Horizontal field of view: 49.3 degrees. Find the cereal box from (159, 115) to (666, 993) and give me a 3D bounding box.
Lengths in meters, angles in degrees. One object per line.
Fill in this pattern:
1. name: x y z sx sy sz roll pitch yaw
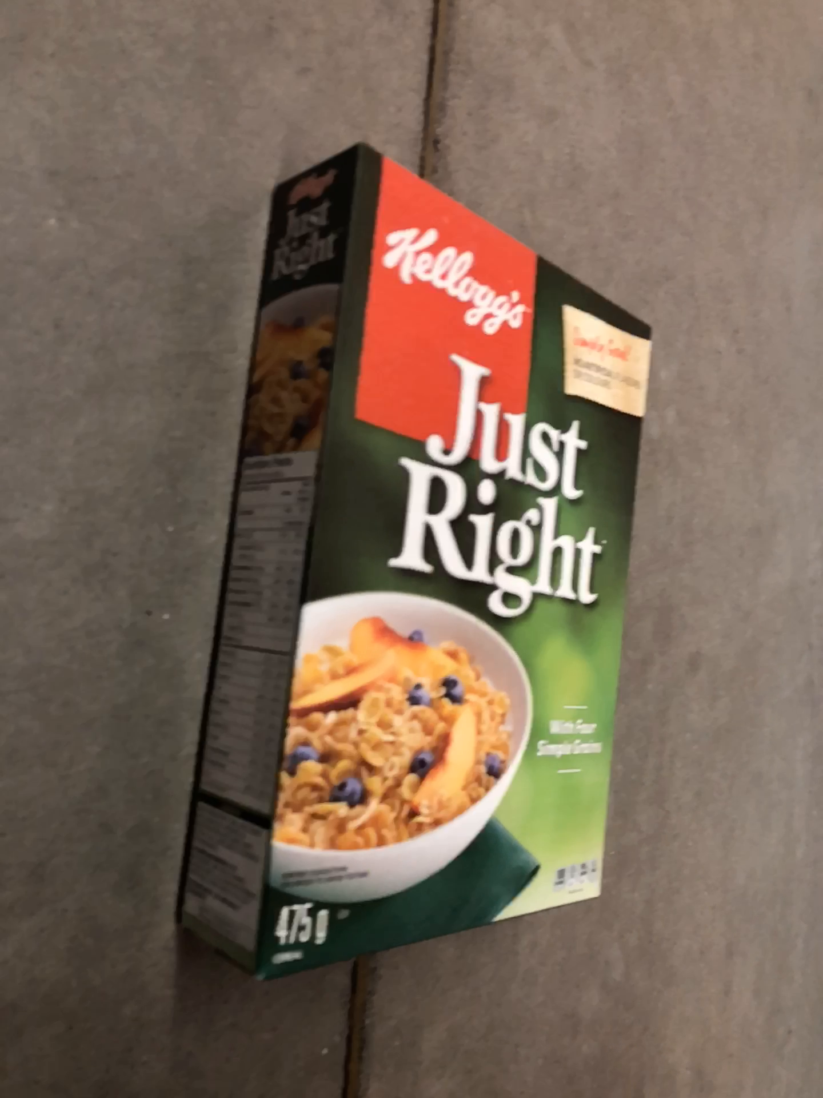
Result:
1. cereal box: 0.019 0.009 0.389 0.211 0.060 0.290 11 82 -45
